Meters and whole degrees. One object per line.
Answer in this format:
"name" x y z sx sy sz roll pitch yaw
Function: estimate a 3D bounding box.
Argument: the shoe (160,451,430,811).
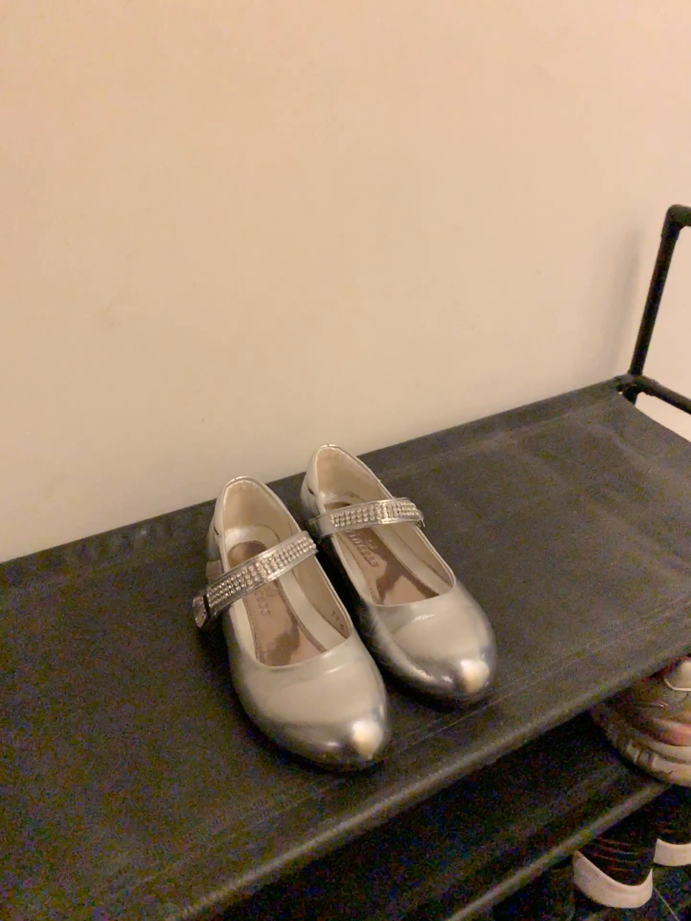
"shoe" -0.036 0.087 0.428 0.090 0.089 0.181 -18 36 -19

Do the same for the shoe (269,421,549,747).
"shoe" 0.031 0.065 0.455 0.090 0.089 0.181 -18 36 -19
